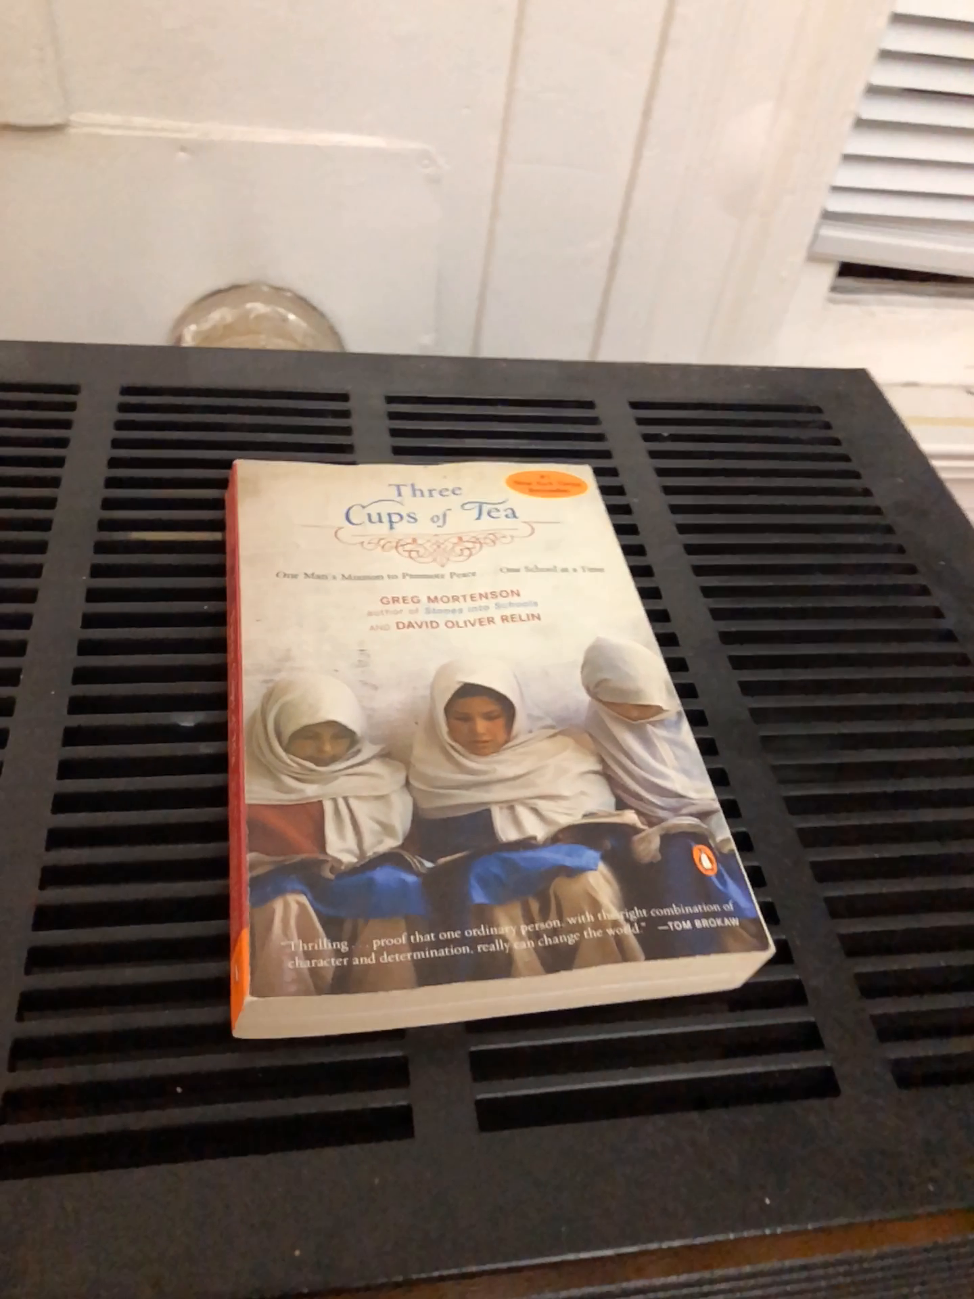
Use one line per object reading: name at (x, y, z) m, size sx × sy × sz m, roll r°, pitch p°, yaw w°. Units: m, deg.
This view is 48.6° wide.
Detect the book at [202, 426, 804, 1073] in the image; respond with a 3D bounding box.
book at (-0.014, 0.007, 0.334) m, size 0.140 × 0.030 × 0.221 m, roll -3°, pitch 46°, yaw -13°
